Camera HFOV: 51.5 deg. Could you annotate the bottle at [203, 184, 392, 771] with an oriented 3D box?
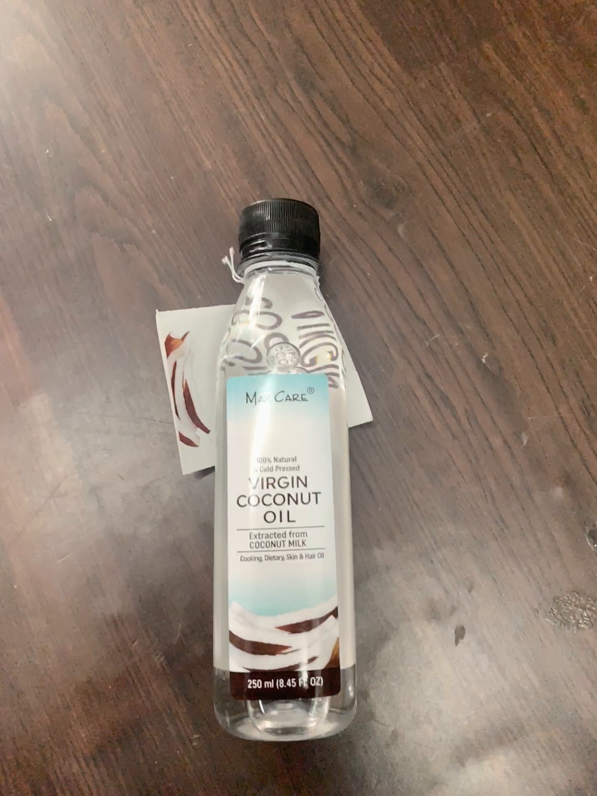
[{"bbox_3d":[-0.002,0.020,0.205,0.050,0.050,0.170,0,79,-1],"label":"bottle"}]
